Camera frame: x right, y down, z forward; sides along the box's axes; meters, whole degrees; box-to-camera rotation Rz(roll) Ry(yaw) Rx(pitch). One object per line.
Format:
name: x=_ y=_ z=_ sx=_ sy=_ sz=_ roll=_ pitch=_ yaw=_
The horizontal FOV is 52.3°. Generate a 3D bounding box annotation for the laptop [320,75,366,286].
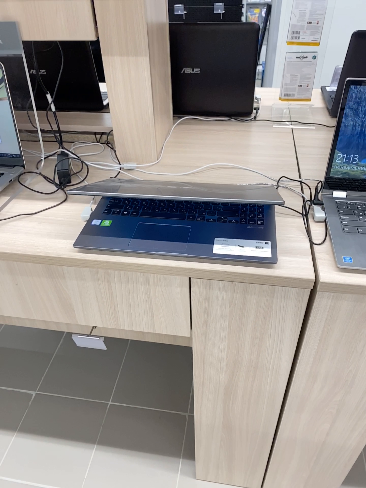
laptop: x=0.447 y=-0.119 z=0.615 sx=0.351 sy=0.222 sz=0.260 roll=4 pitch=39 yaw=7

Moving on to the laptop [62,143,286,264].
laptop: x=-0.001 y=-0.090 z=0.699 sx=0.354 sy=0.097 sz=0.230 roll=5 pitch=38 yaw=8
